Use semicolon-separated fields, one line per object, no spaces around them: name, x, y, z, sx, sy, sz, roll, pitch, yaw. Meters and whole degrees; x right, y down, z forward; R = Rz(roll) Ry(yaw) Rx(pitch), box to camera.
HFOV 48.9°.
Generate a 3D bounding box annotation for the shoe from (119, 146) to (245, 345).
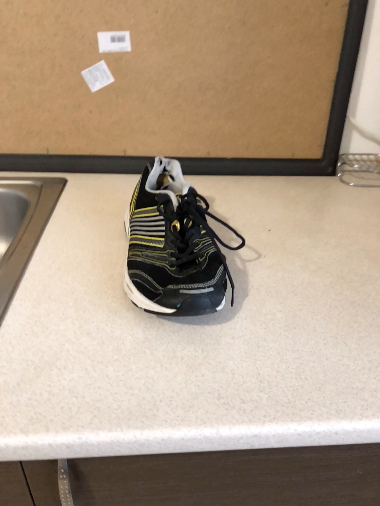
shoe;-0.027;-0.036;0.519;0.110;0.099;0.312;-2;31;-7
